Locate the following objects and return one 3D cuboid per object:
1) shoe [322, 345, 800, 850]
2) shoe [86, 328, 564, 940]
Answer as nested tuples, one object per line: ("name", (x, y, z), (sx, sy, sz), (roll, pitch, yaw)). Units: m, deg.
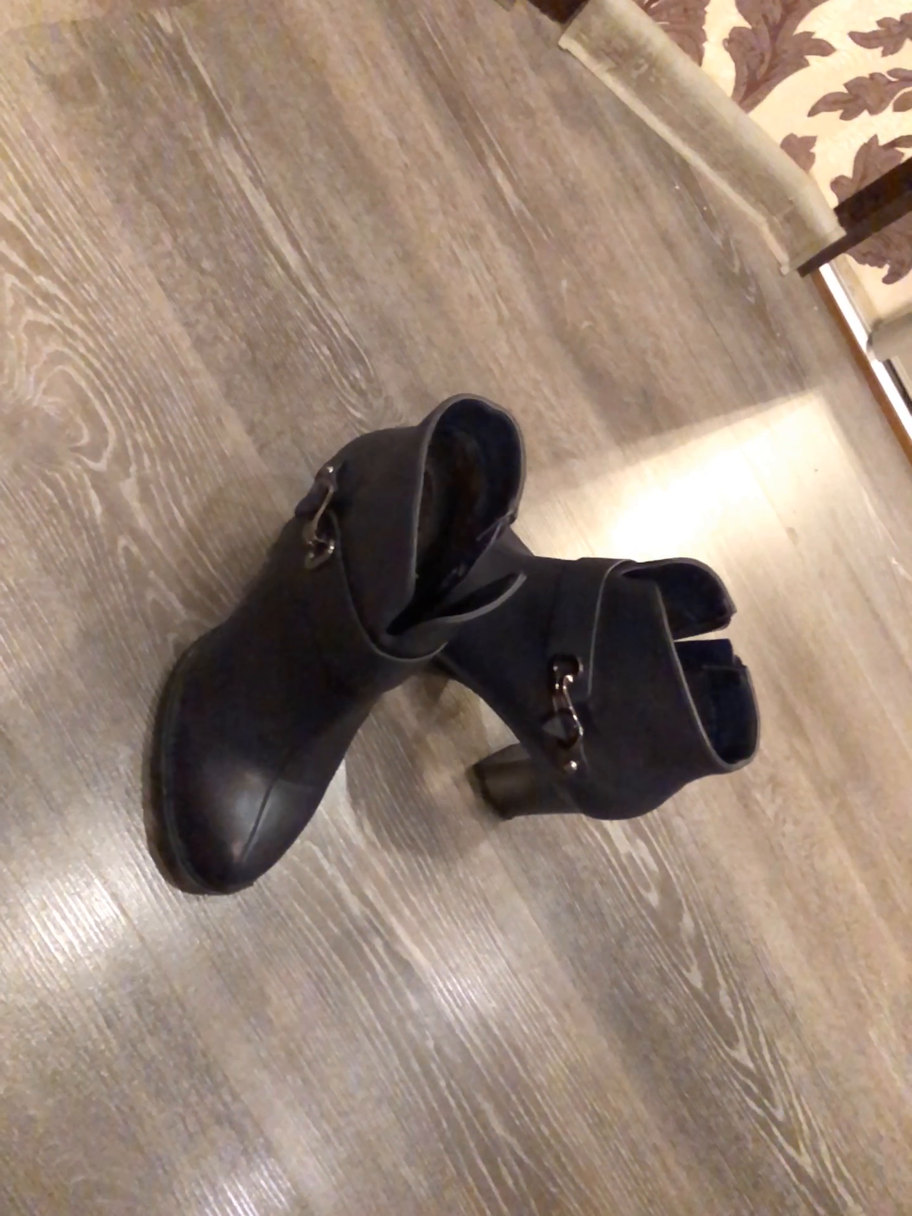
("shoe", (0.041, 0.006, 0.525), (0.090, 0.189, 0.210), (-17, 85, -35))
("shoe", (-0.062, 0.025, 0.443), (0.090, 0.189, 0.211), (24, 65, -25))
